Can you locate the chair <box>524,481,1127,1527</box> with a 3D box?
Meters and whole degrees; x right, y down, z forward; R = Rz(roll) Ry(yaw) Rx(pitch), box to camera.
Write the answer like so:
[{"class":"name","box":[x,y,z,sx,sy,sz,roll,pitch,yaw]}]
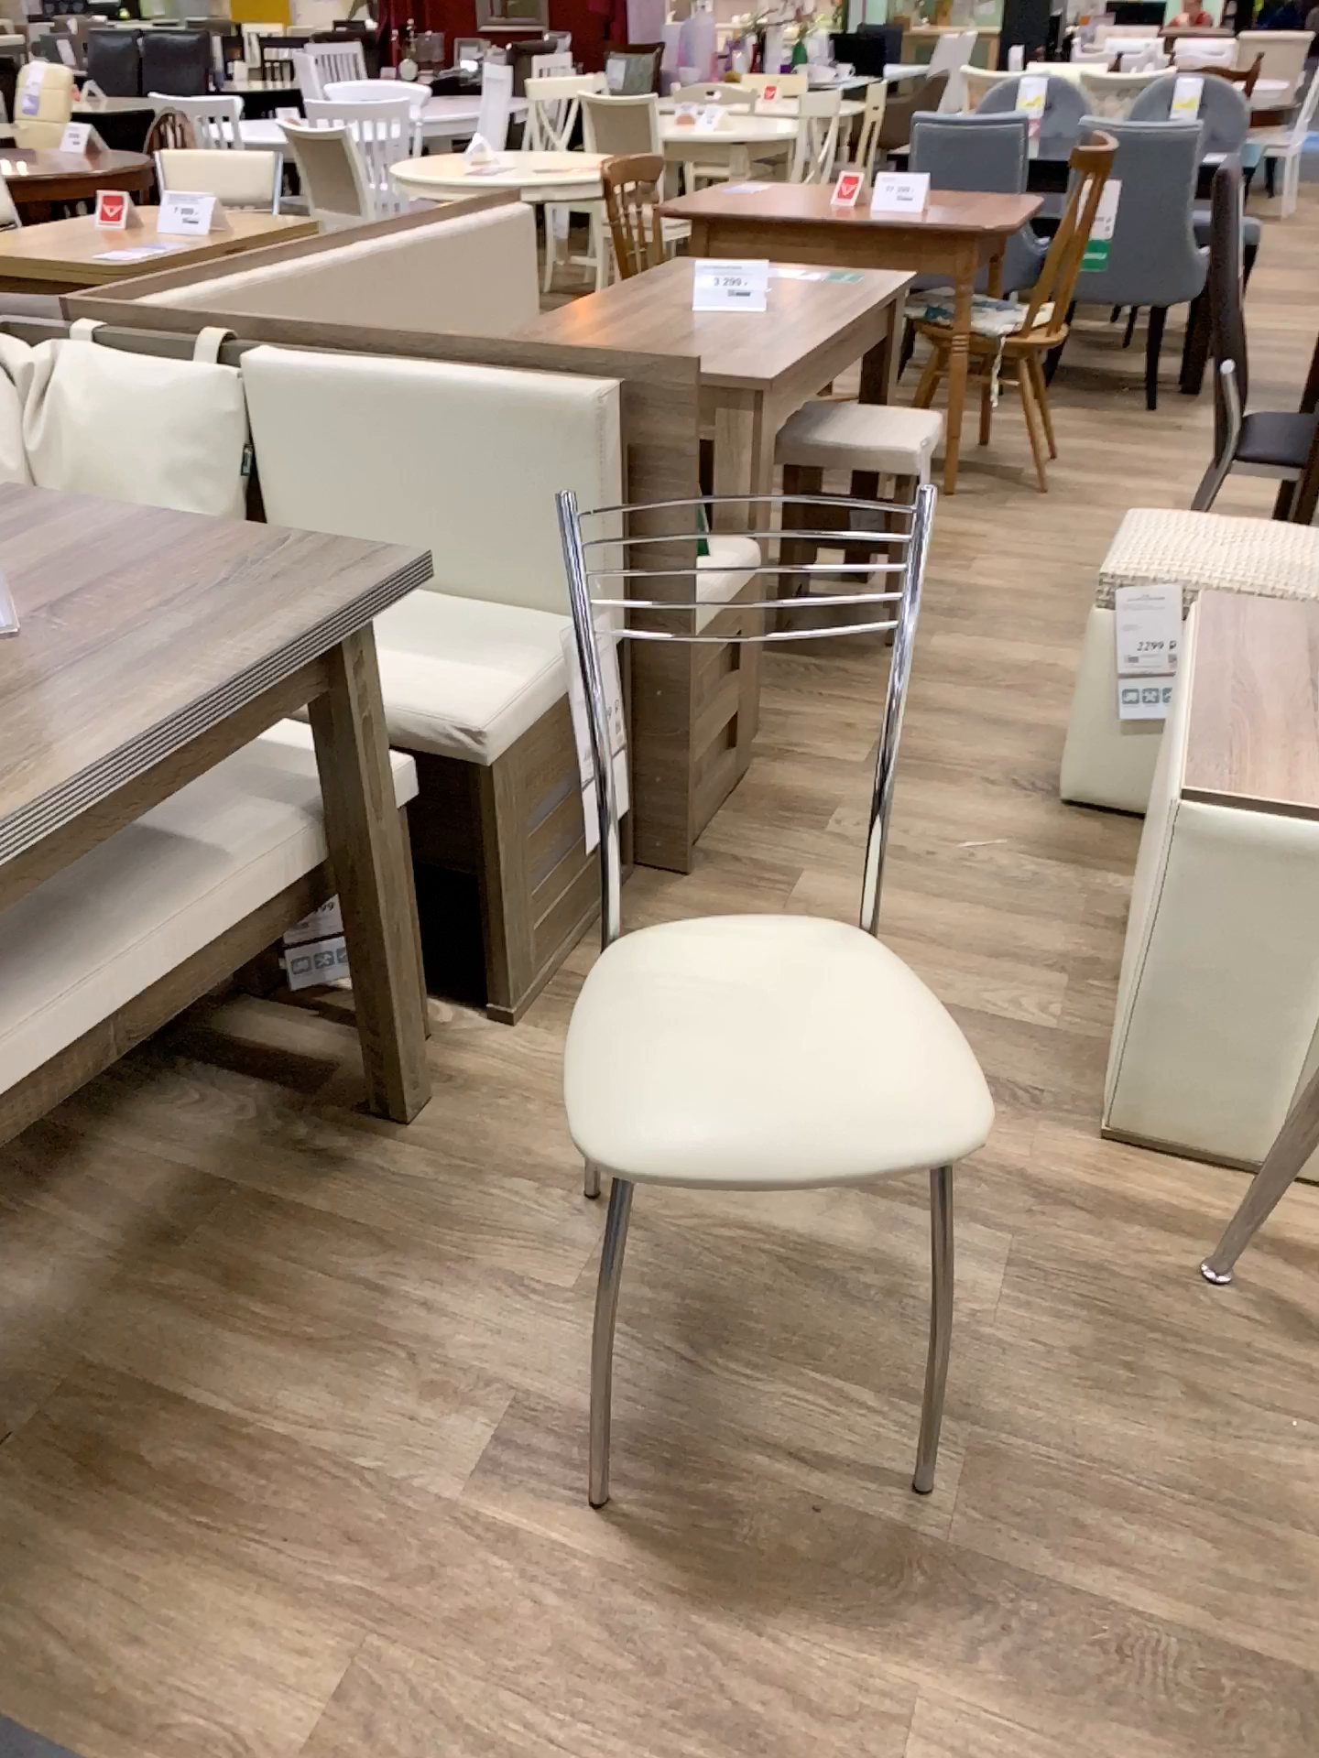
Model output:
[{"class":"chair","box":[0.106,0.149,1.382,0.413,0.967,0.483,-1,33,-2]}]
